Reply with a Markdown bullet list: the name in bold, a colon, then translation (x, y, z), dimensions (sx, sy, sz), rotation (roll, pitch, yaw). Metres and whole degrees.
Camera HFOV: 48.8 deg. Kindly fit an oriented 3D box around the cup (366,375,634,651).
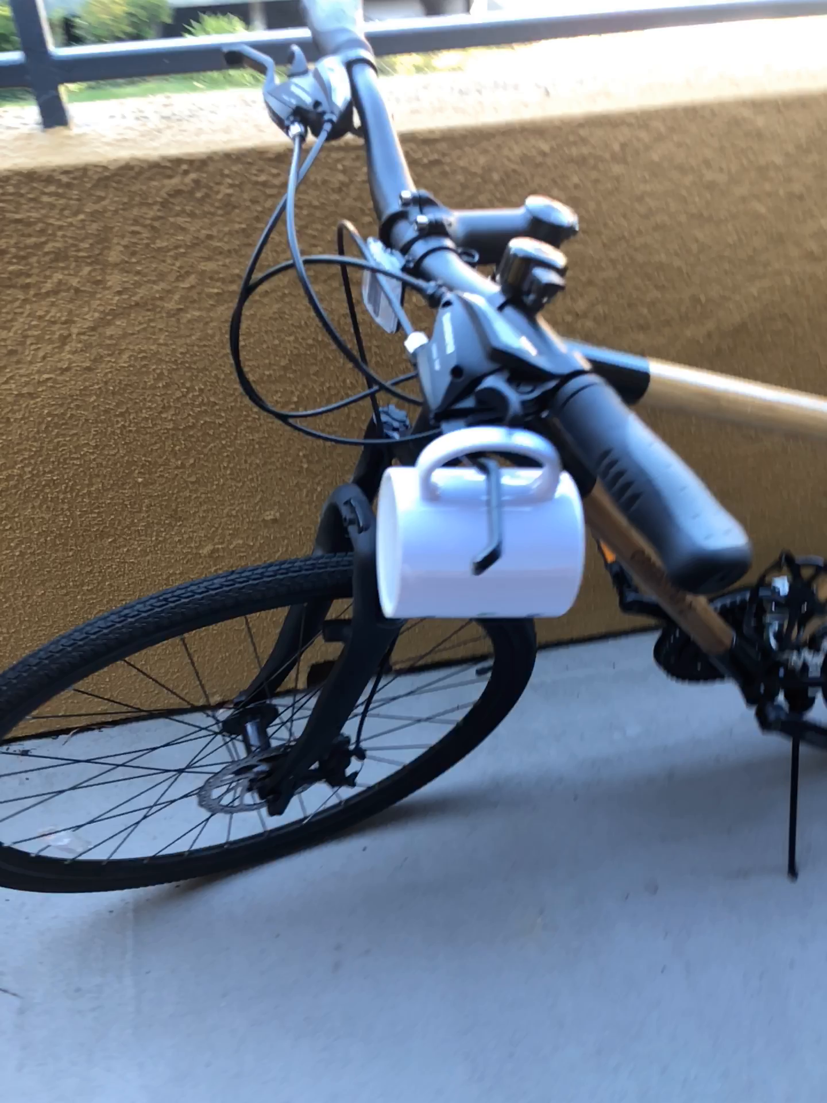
- **cup**: translation (0.036, -0.017, 0.487), dimensions (0.120, 0.120, 0.090), rotation (1, 52, -4)
